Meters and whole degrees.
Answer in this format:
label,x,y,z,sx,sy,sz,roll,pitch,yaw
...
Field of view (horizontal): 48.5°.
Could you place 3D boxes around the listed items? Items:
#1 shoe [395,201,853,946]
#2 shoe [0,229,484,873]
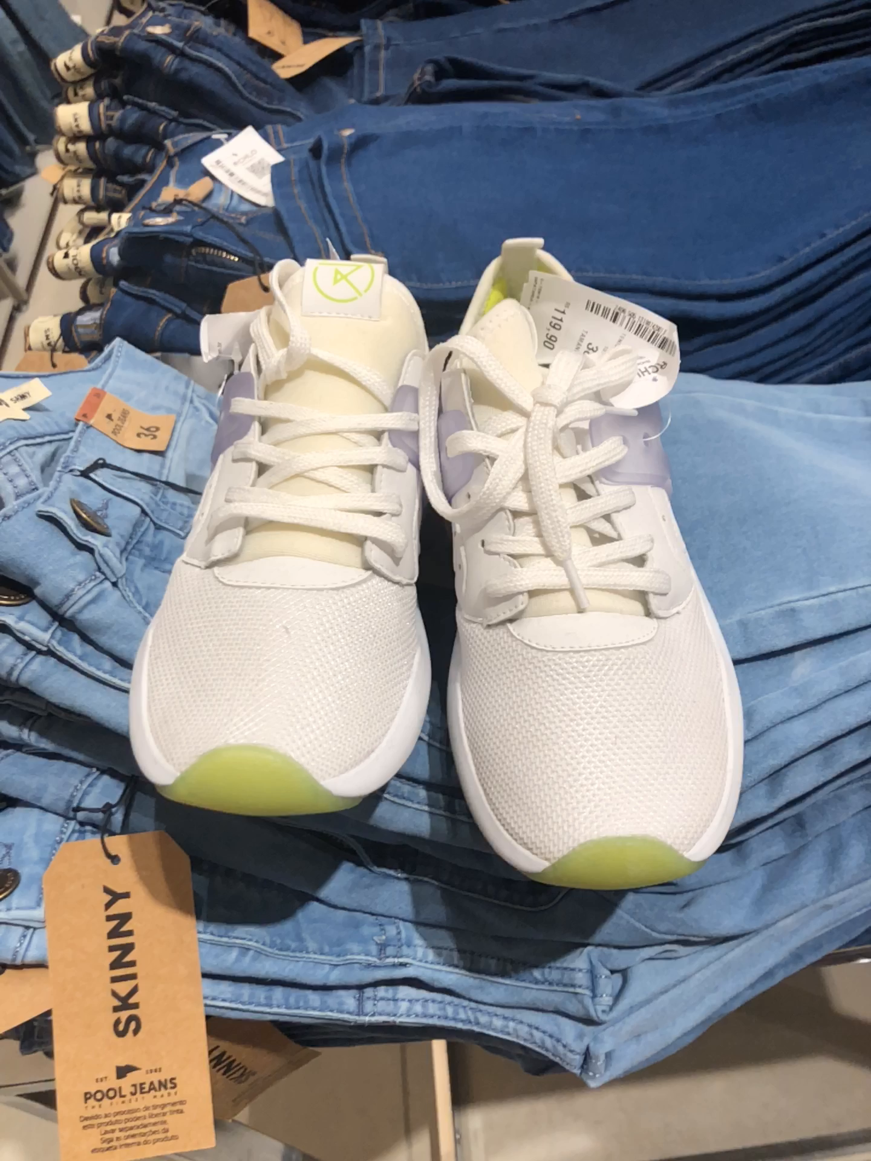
label,x,y,z,sx,sy,sz,roll,pitch,yaw
shoe,0.047,-0.018,0.342,0.100,0.089,0.252,-8,51,5
shoe,-0.045,-0.039,0.359,0.110,0.119,0.261,5,31,1
